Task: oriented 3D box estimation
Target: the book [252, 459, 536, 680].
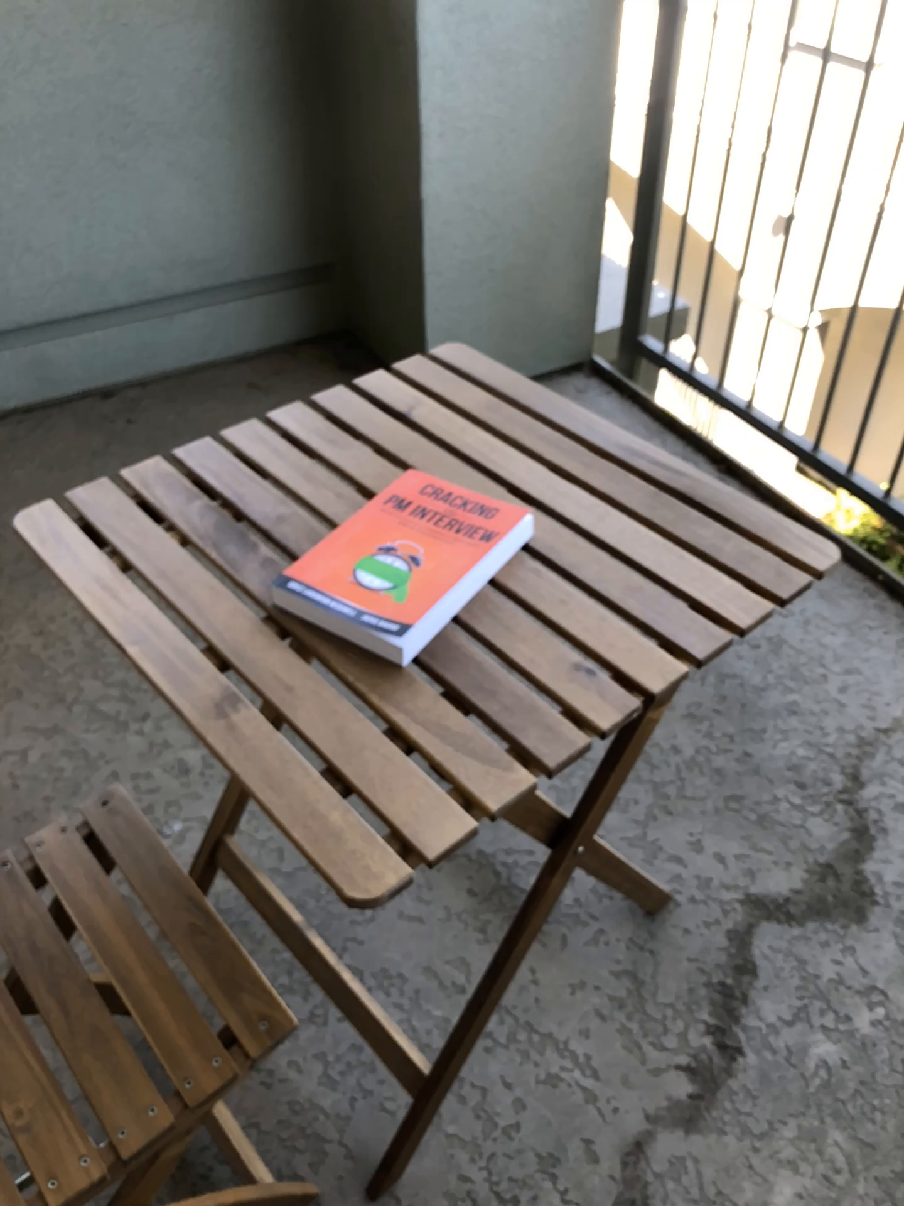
[{"bbox_3d":[-0.051,-0.043,0.986,0.170,0.040,0.231,24,47,25],"label":"book"}]
